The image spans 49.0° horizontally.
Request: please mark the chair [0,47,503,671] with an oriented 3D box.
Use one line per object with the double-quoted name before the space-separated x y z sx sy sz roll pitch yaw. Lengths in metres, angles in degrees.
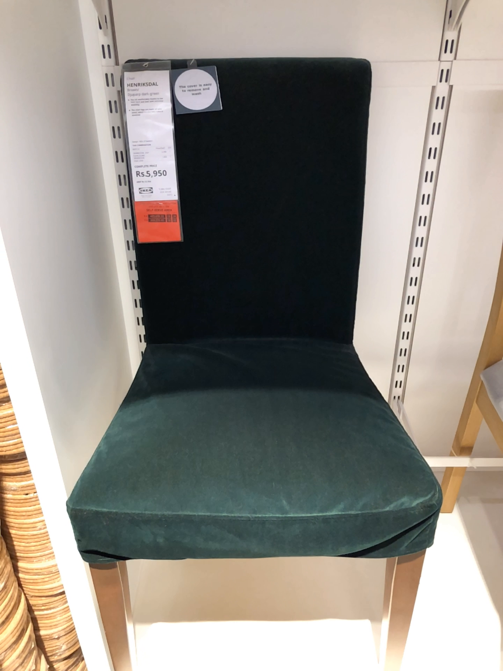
"chair" 0.000 0.074 0.875 0.470 0.914 0.513 -2 30 -1
